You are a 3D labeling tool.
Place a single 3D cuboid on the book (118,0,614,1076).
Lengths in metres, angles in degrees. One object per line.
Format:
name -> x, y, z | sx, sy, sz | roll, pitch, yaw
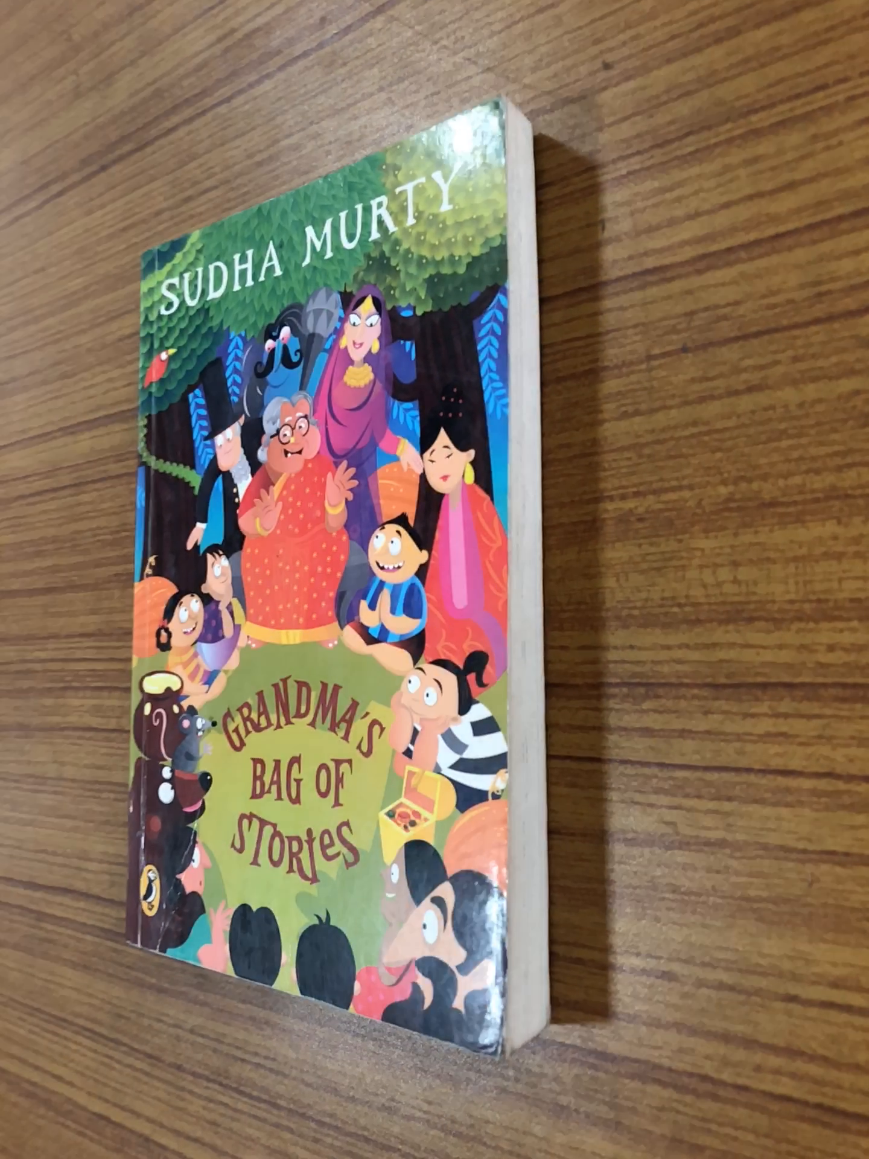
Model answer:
book -> -0.024, -0.009, 0.239 | 0.131, 0.030, 0.210 | -5, 83, 39
